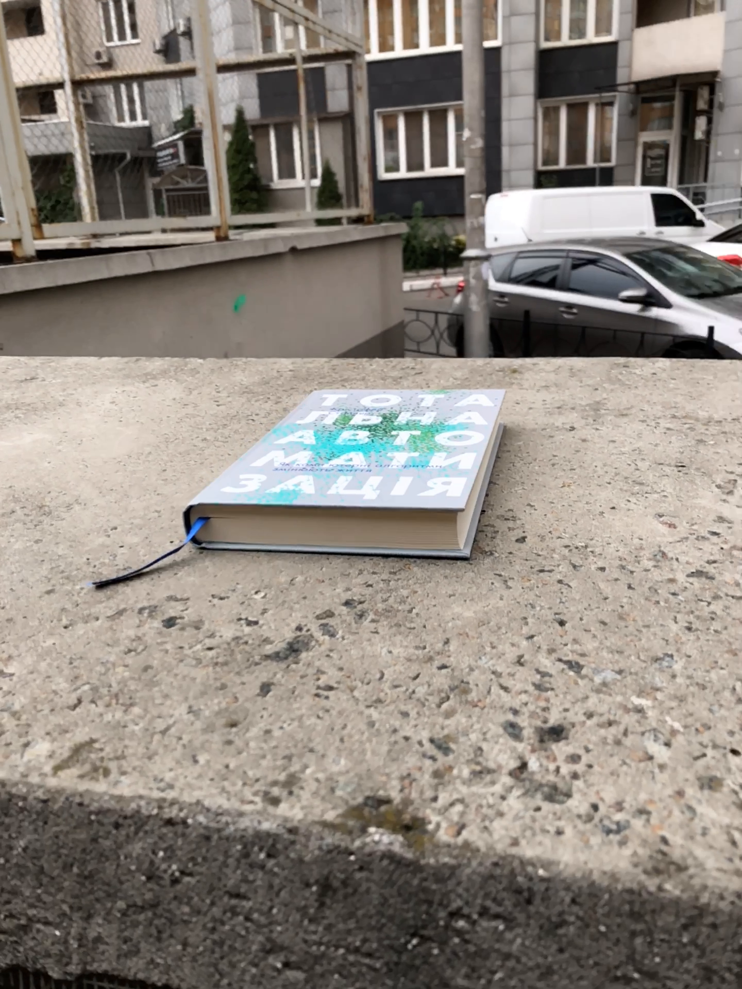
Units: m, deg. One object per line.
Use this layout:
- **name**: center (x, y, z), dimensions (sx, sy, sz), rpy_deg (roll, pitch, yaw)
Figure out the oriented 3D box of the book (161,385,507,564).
- **book**: center (-0.004, -0.024, 0.496), dimensions (0.156, 0.030, 0.222), rpy_deg (1, 22, 13)
